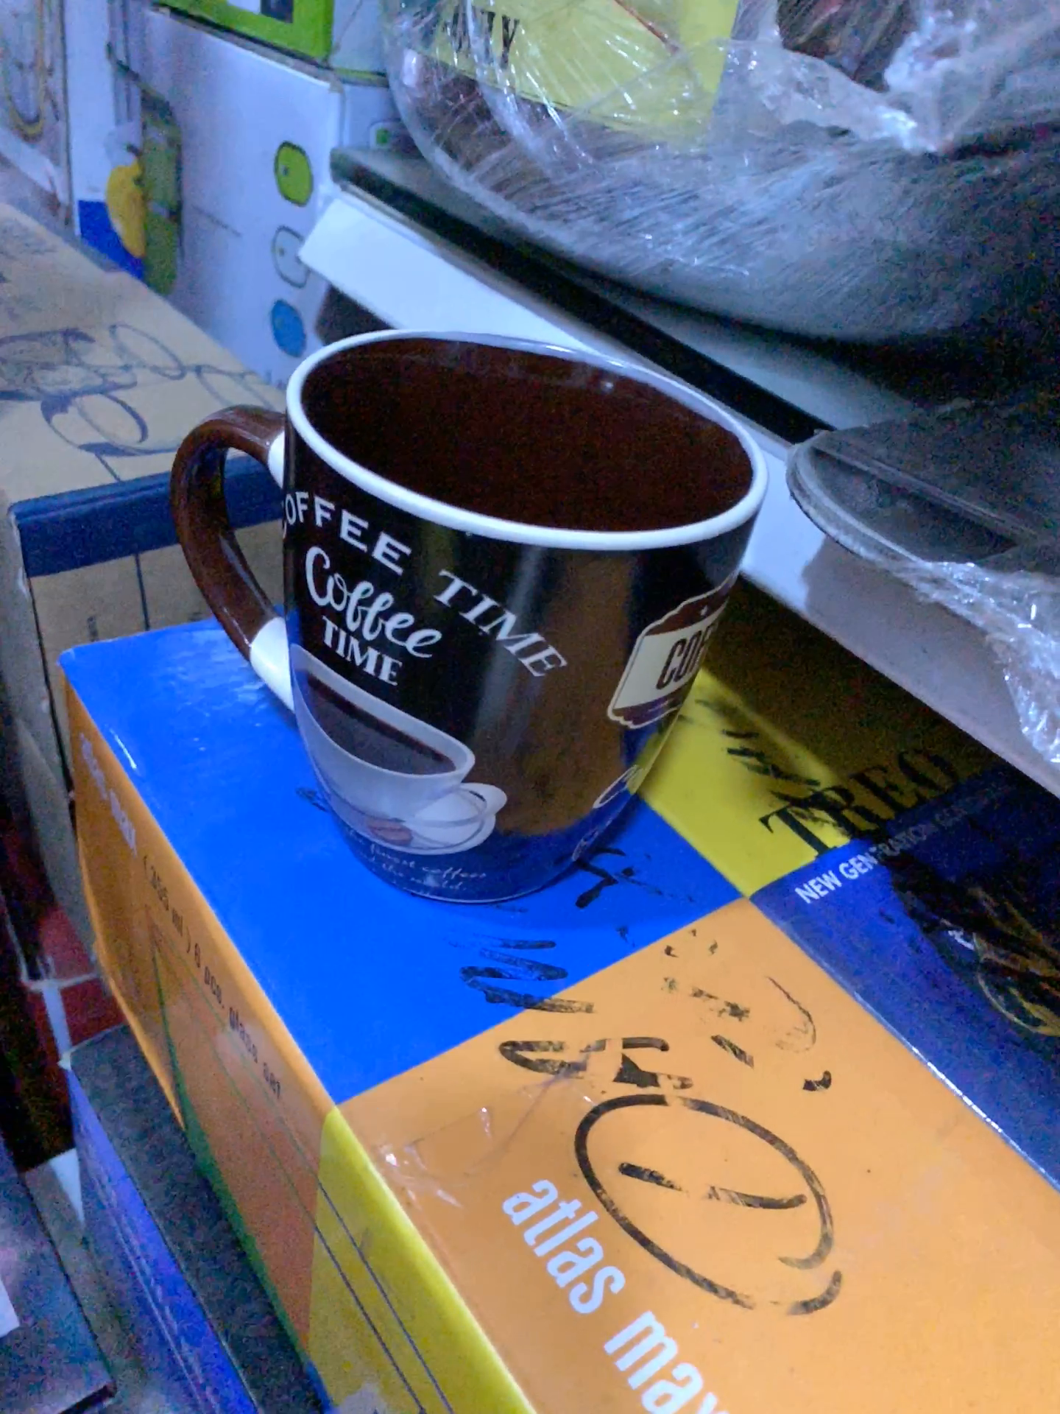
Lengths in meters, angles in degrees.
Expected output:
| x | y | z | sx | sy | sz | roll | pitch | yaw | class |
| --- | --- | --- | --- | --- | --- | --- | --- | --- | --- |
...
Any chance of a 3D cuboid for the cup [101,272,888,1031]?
| x | y | z | sx | sy | sz | roll | pitch | yaw | class |
| --- | --- | --- | --- | --- | --- | --- | --- | --- | --- |
| -0.011 | -0.018 | 0.205 | 0.110 | 0.079 | 0.070 | 30 | 40 | 24 | cup |
